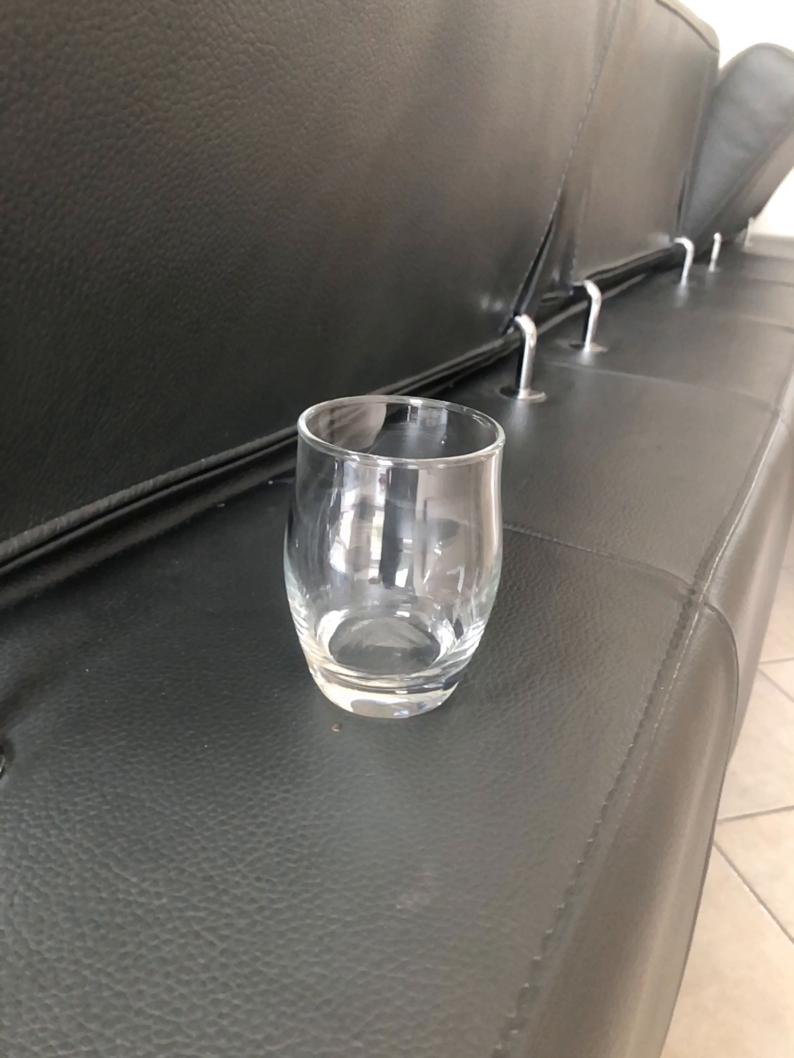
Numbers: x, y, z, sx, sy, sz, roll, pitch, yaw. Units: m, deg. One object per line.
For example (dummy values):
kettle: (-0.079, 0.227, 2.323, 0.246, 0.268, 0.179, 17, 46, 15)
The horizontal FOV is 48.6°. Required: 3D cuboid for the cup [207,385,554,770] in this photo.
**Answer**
cup: (-0.006, 0.009, 0.301, 0.080, 0.090, 0.080, 3, 23, -1)
